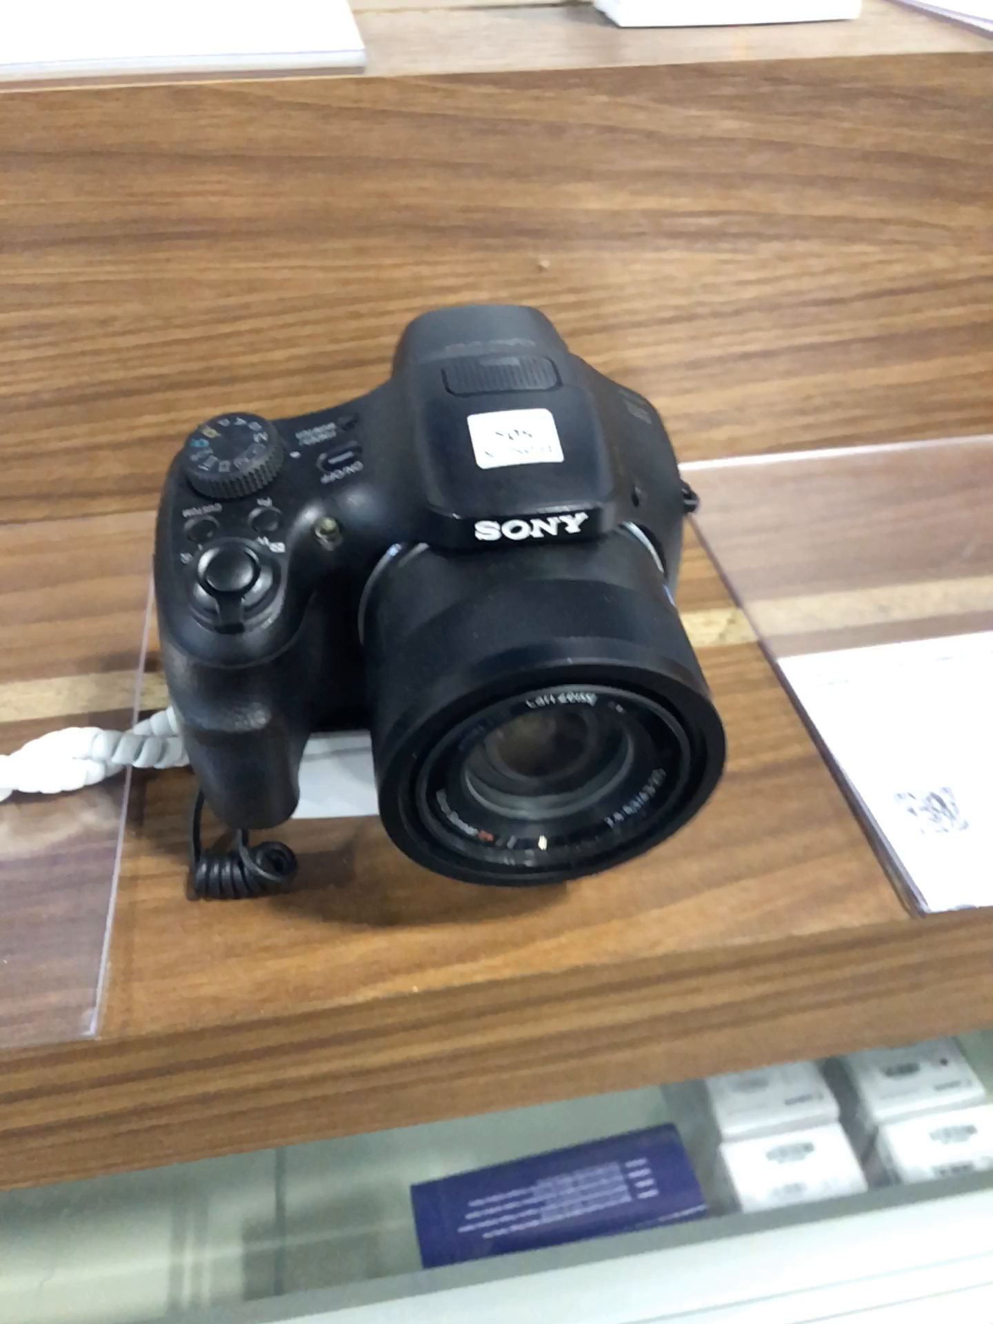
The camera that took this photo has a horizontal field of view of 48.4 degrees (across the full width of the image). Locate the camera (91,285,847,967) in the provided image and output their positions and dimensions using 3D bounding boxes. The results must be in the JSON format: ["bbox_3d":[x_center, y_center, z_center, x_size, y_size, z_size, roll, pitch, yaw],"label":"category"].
[{"bbox_3d":[-0.013,-0.014,0.261,0.130,0.089,0.121,-7,46,-7],"label":"camera"}]
